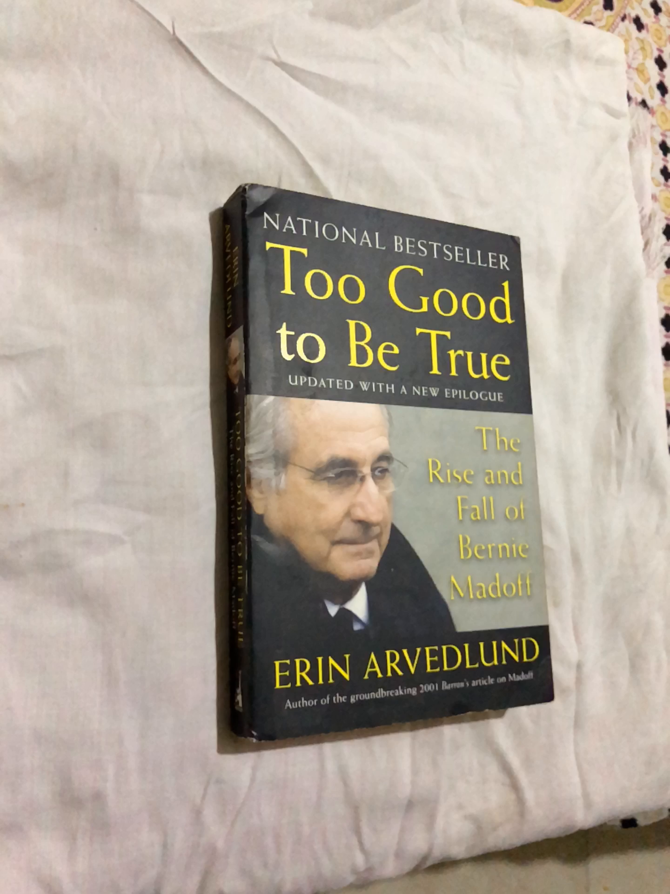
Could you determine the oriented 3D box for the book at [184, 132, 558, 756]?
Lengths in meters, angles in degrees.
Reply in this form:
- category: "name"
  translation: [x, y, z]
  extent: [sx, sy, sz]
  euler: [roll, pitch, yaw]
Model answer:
- category: "book"
  translation: [0.015, -0.004, 0.315]
  extent: [0.150, 0.030, 0.230]
  euler: [2, 80, -23]
